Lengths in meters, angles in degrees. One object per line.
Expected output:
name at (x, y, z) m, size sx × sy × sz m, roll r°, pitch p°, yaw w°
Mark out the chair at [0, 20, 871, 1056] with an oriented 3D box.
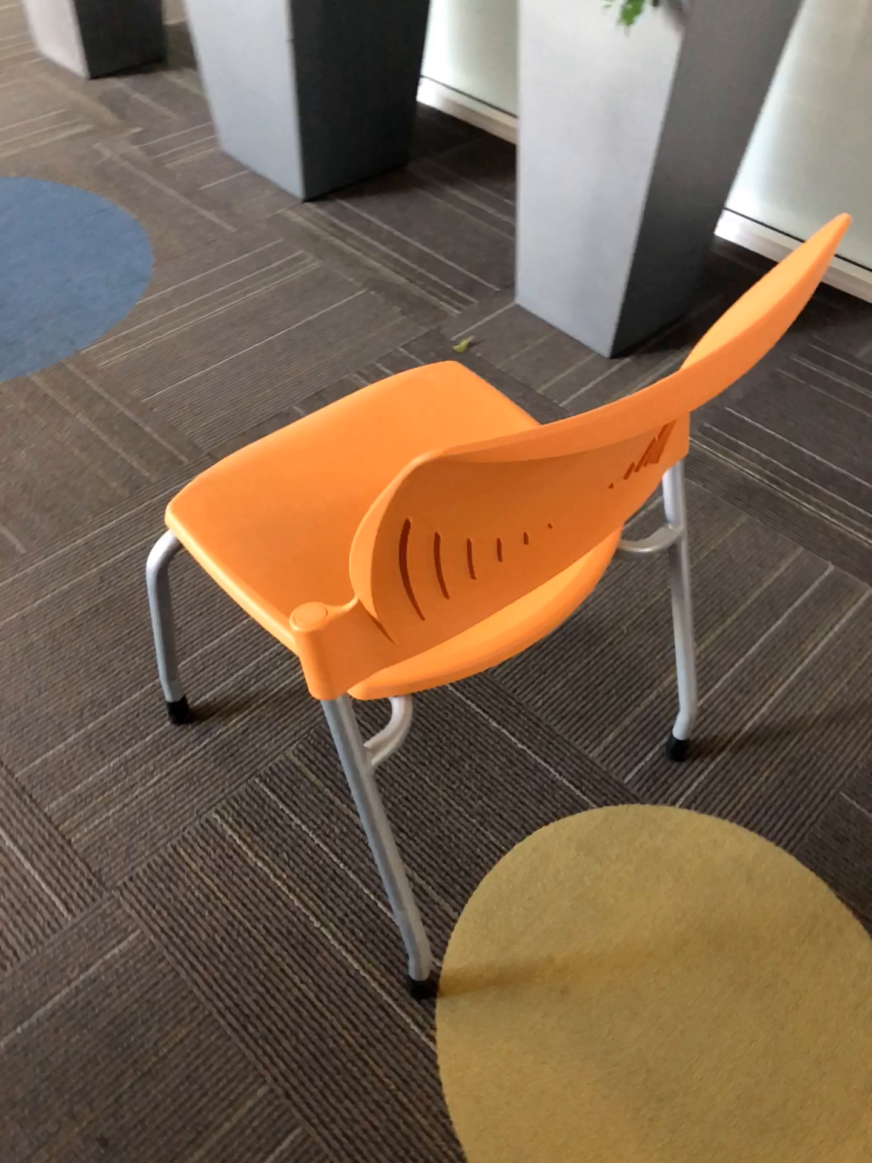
chair at (0.000, -0.062, 1.074) m, size 0.641 × 0.747 × 0.611 m, roll -34°, pitch 58°, yaw -29°
